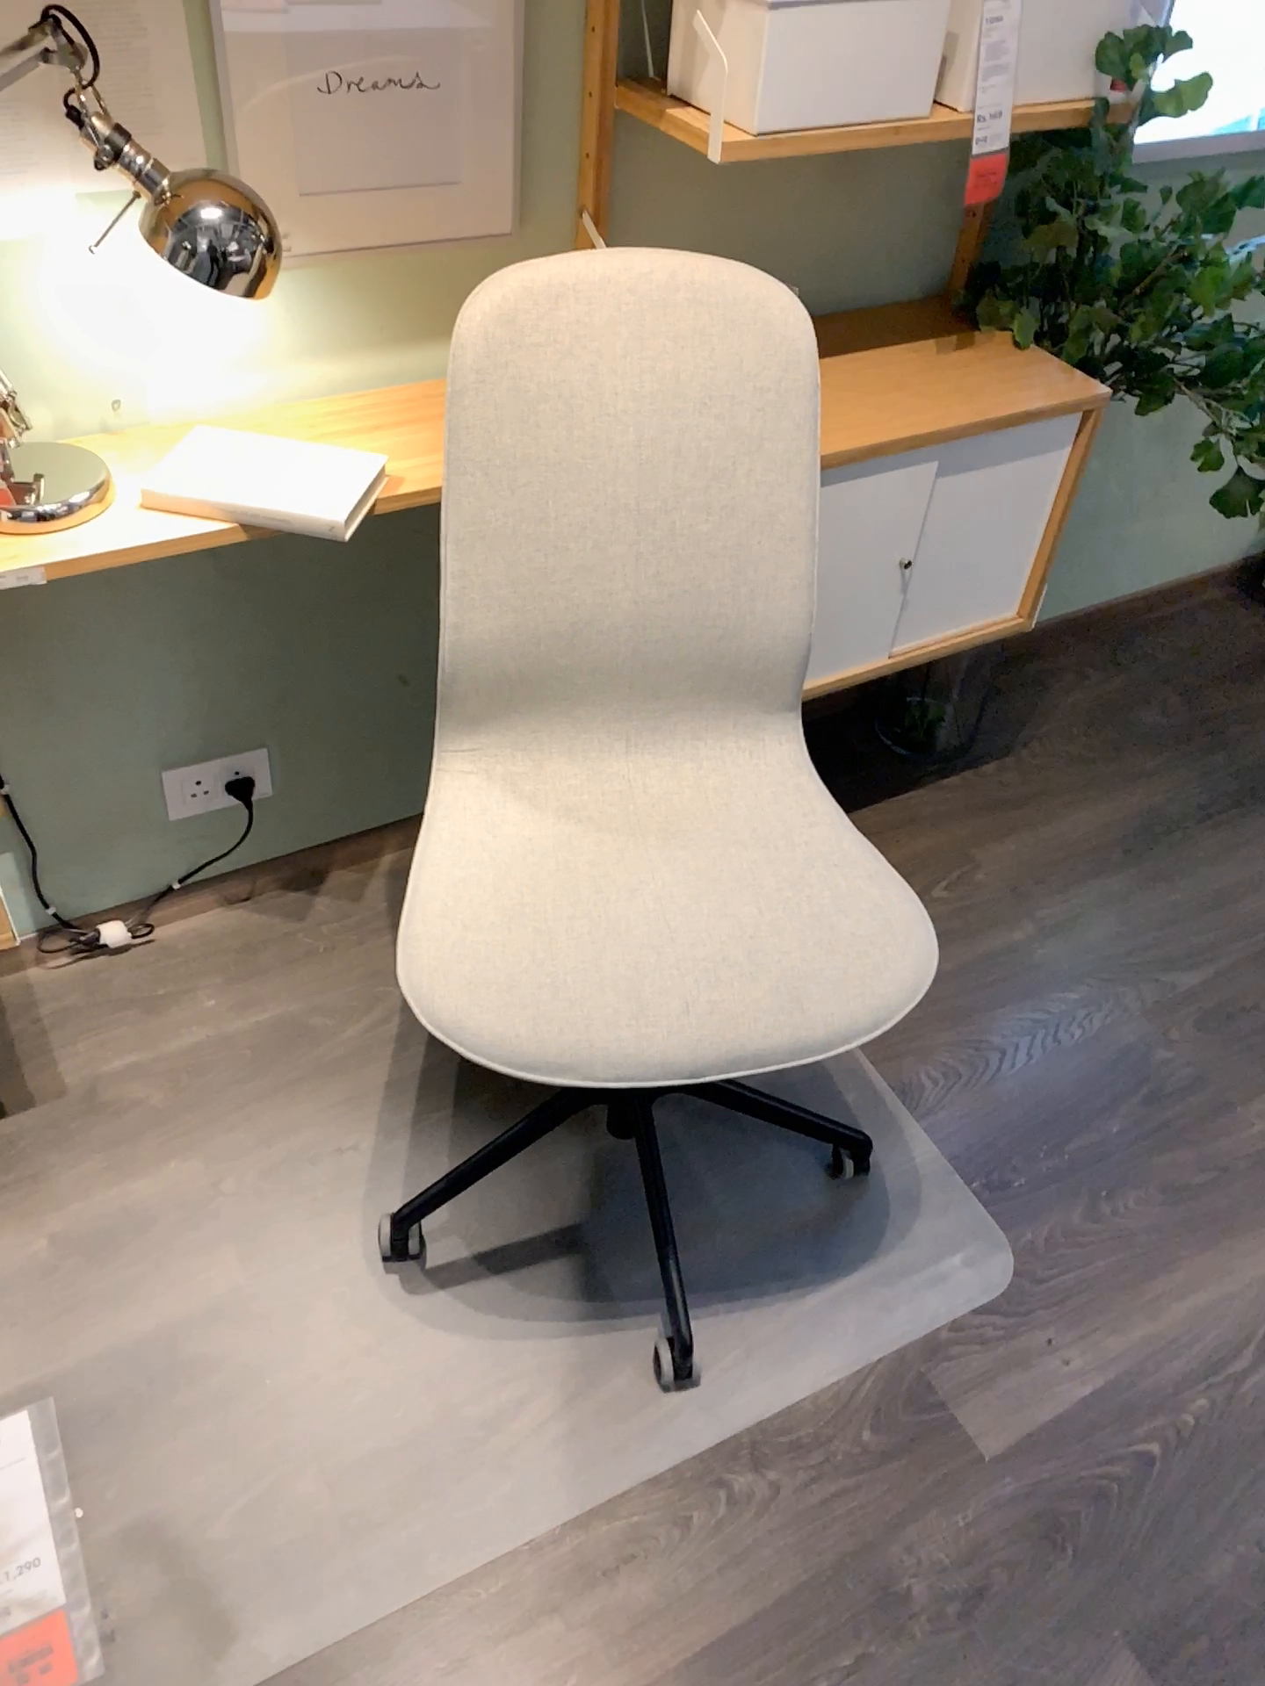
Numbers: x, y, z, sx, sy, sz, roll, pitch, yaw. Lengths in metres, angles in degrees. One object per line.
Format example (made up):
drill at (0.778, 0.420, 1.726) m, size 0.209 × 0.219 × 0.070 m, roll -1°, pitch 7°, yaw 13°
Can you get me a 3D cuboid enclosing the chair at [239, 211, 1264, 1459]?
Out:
chair at (0.018, 0.013, 1.305) m, size 0.670 × 1.016 × 0.673 m, roll -6°, pitch 44°, yaw -12°
